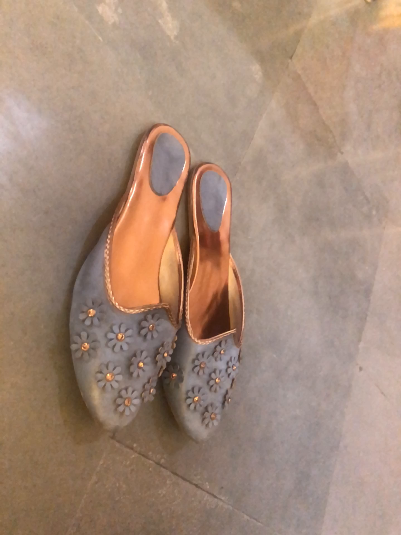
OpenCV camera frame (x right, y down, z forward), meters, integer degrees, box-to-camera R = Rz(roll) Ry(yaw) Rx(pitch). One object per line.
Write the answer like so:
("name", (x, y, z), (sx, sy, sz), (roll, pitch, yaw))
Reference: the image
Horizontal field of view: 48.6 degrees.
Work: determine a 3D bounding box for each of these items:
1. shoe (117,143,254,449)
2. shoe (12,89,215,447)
("shoe", (-0.007, 0.028, 0.437), (0.101, 0.050, 0.270), (20, 71, -44))
("shoe", (-0.060, -0.001, 0.373), (0.101, 0.050, 0.270), (27, 66, -42))
